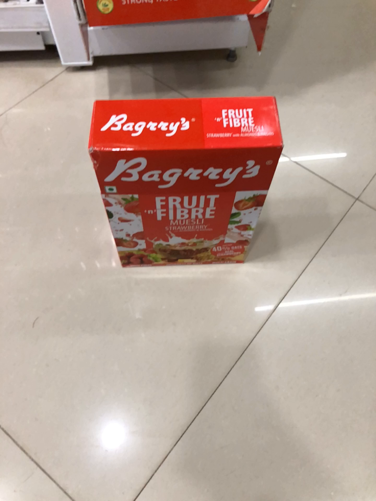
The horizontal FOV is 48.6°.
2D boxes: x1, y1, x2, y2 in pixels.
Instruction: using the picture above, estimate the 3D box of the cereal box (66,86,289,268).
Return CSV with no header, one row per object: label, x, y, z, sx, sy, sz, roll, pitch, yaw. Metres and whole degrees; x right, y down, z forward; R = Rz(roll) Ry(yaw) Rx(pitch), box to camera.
cereal box,-0.013,-0.069,0.506,0.200,0.259,0.070,-2,63,-3
